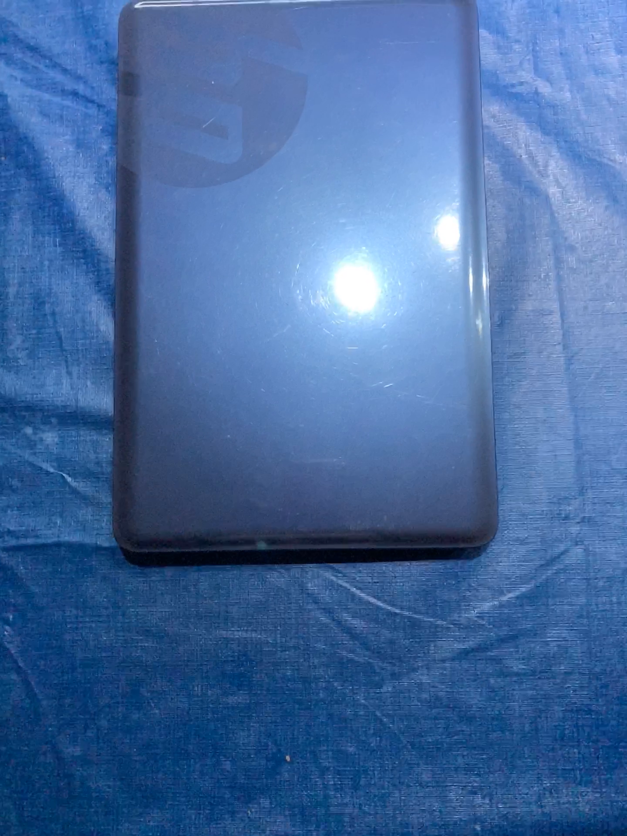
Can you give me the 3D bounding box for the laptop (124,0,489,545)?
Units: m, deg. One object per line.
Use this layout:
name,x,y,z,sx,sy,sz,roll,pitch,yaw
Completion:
laptop,-0.008,-0.101,0.431,0.235,0.009,0.363,-1,86,1
